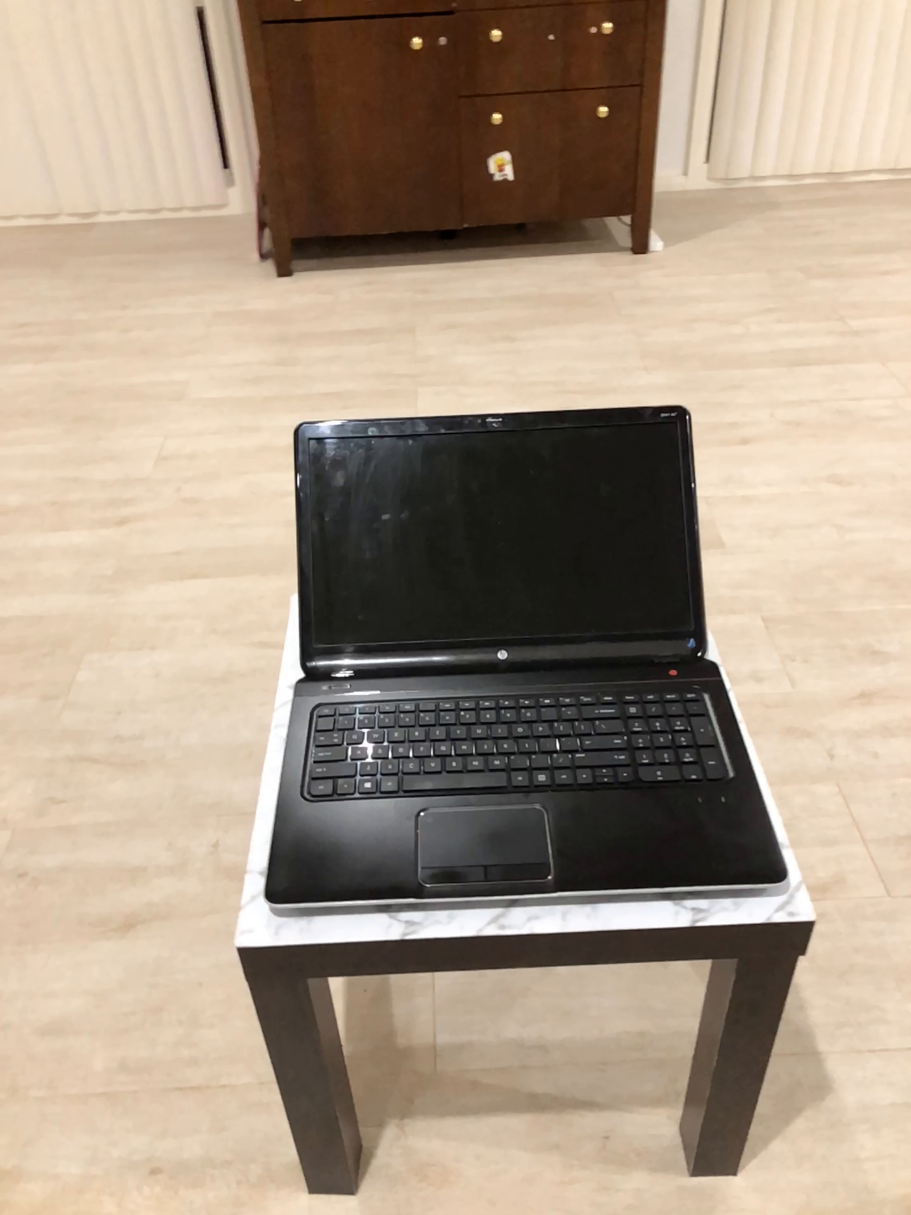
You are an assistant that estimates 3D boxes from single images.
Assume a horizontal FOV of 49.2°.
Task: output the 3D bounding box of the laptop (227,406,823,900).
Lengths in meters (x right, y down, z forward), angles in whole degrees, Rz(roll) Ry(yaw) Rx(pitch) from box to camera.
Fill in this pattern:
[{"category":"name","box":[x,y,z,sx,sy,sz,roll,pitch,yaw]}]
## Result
[{"category":"laptop","box":[0.044,0.009,0.869,0.386,0.169,0.440,-2,38,0]}]
